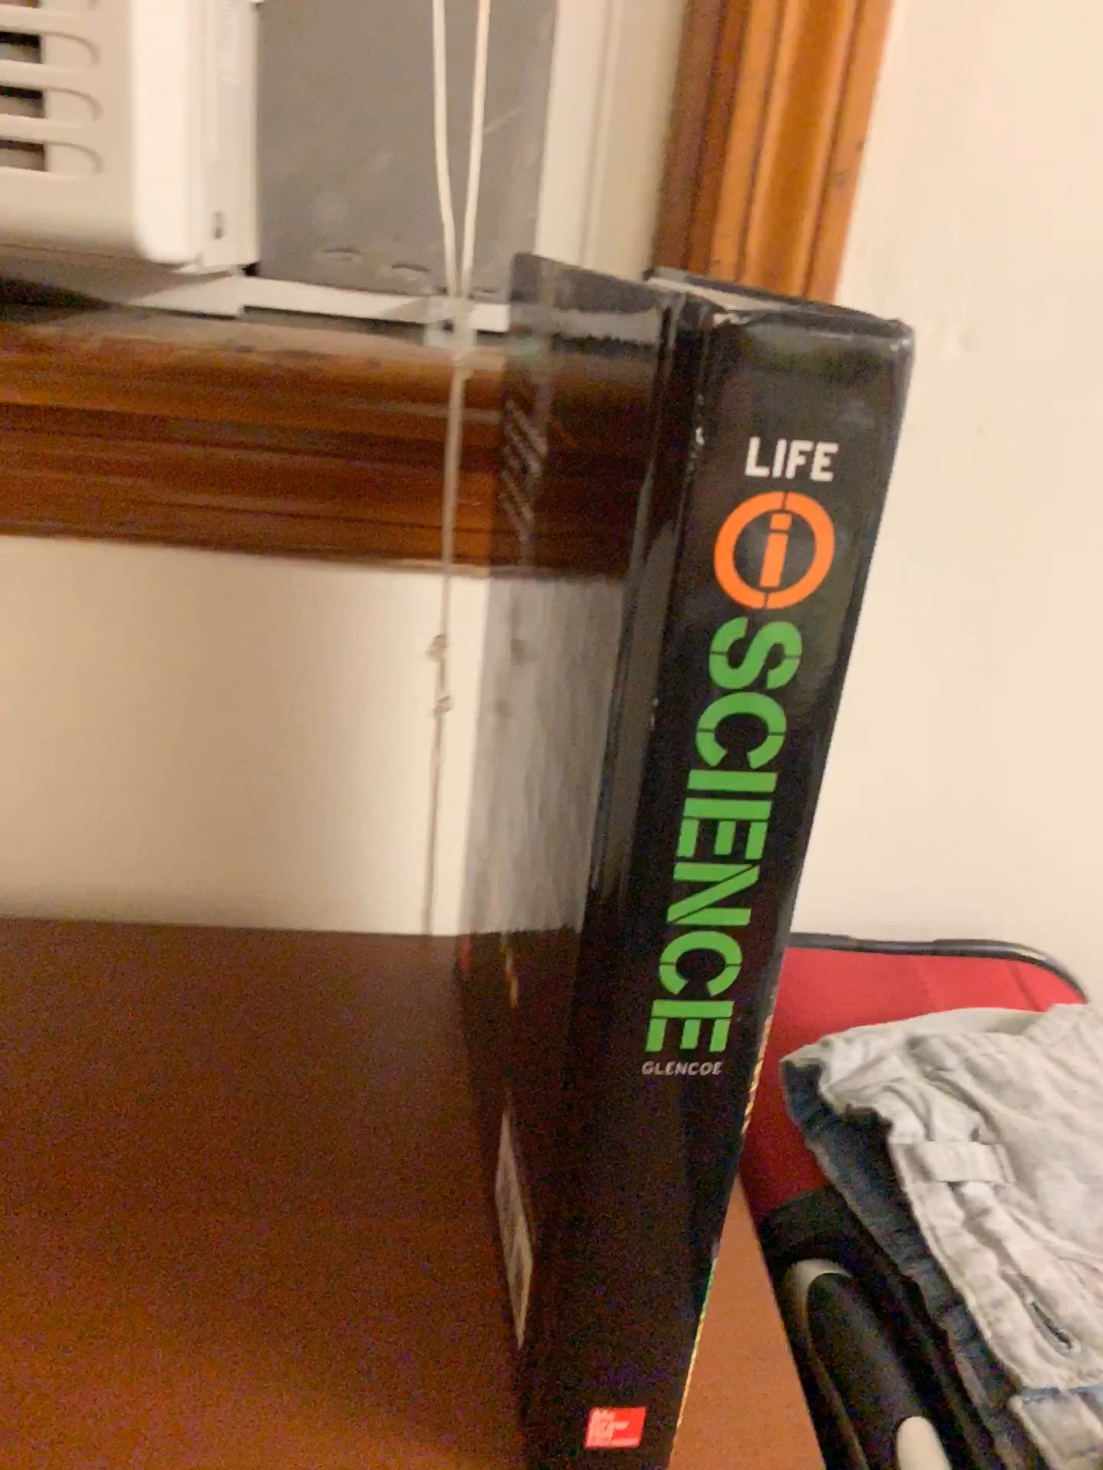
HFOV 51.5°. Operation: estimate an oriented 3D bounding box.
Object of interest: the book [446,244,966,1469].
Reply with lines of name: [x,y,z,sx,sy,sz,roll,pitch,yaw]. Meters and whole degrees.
book: [0.011,0.015,0.336,0.051,0.286,0.228,3,23,-10]
